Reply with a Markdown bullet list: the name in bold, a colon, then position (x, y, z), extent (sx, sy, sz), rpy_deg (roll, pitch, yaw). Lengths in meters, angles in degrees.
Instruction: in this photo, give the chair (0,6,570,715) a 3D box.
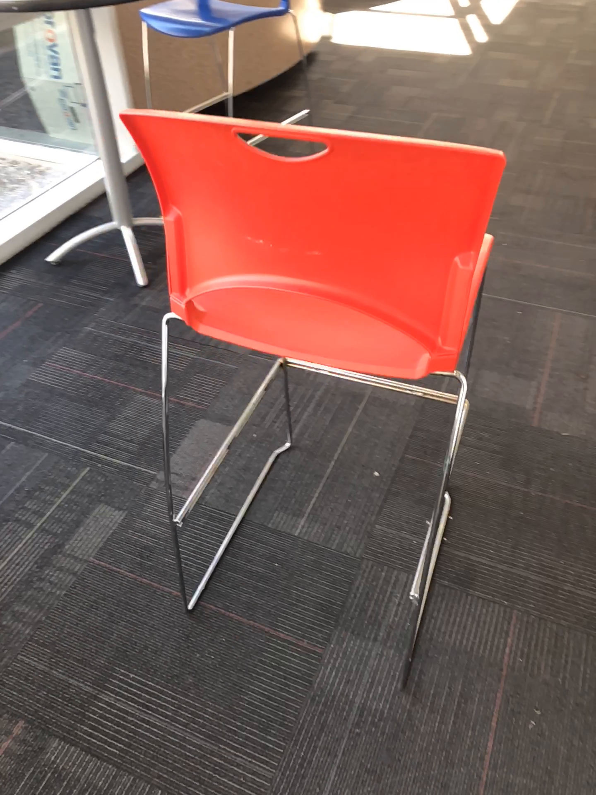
- **chair**: position (0.051, -0.059, 1.189), extent (0.591, 0.995, 0.663), rpy_deg (11, 43, 15)
